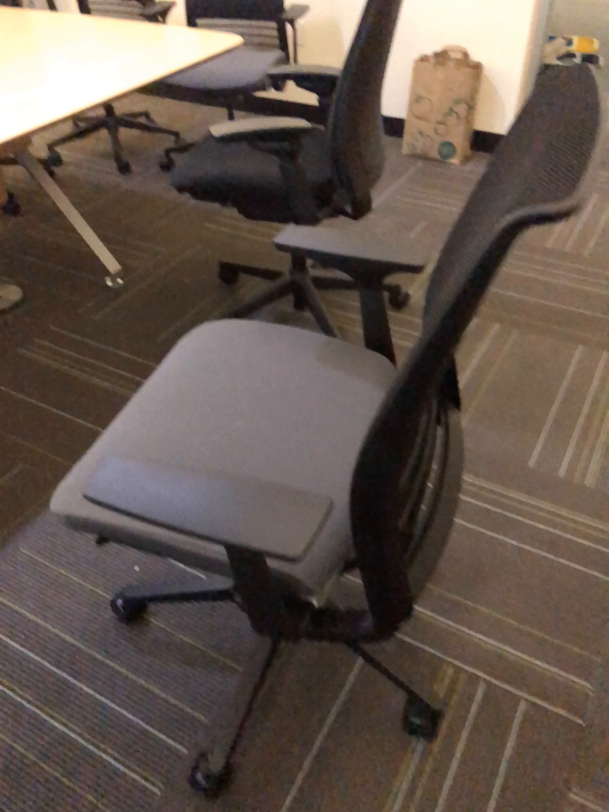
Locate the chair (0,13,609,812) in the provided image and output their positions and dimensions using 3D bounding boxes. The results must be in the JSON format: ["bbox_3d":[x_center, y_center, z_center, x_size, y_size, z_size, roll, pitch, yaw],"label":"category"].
[{"bbox_3d":[-0.025,-0.001,0.969,0.661,0.856,0.723,9,41,12],"label":"chair"}]
